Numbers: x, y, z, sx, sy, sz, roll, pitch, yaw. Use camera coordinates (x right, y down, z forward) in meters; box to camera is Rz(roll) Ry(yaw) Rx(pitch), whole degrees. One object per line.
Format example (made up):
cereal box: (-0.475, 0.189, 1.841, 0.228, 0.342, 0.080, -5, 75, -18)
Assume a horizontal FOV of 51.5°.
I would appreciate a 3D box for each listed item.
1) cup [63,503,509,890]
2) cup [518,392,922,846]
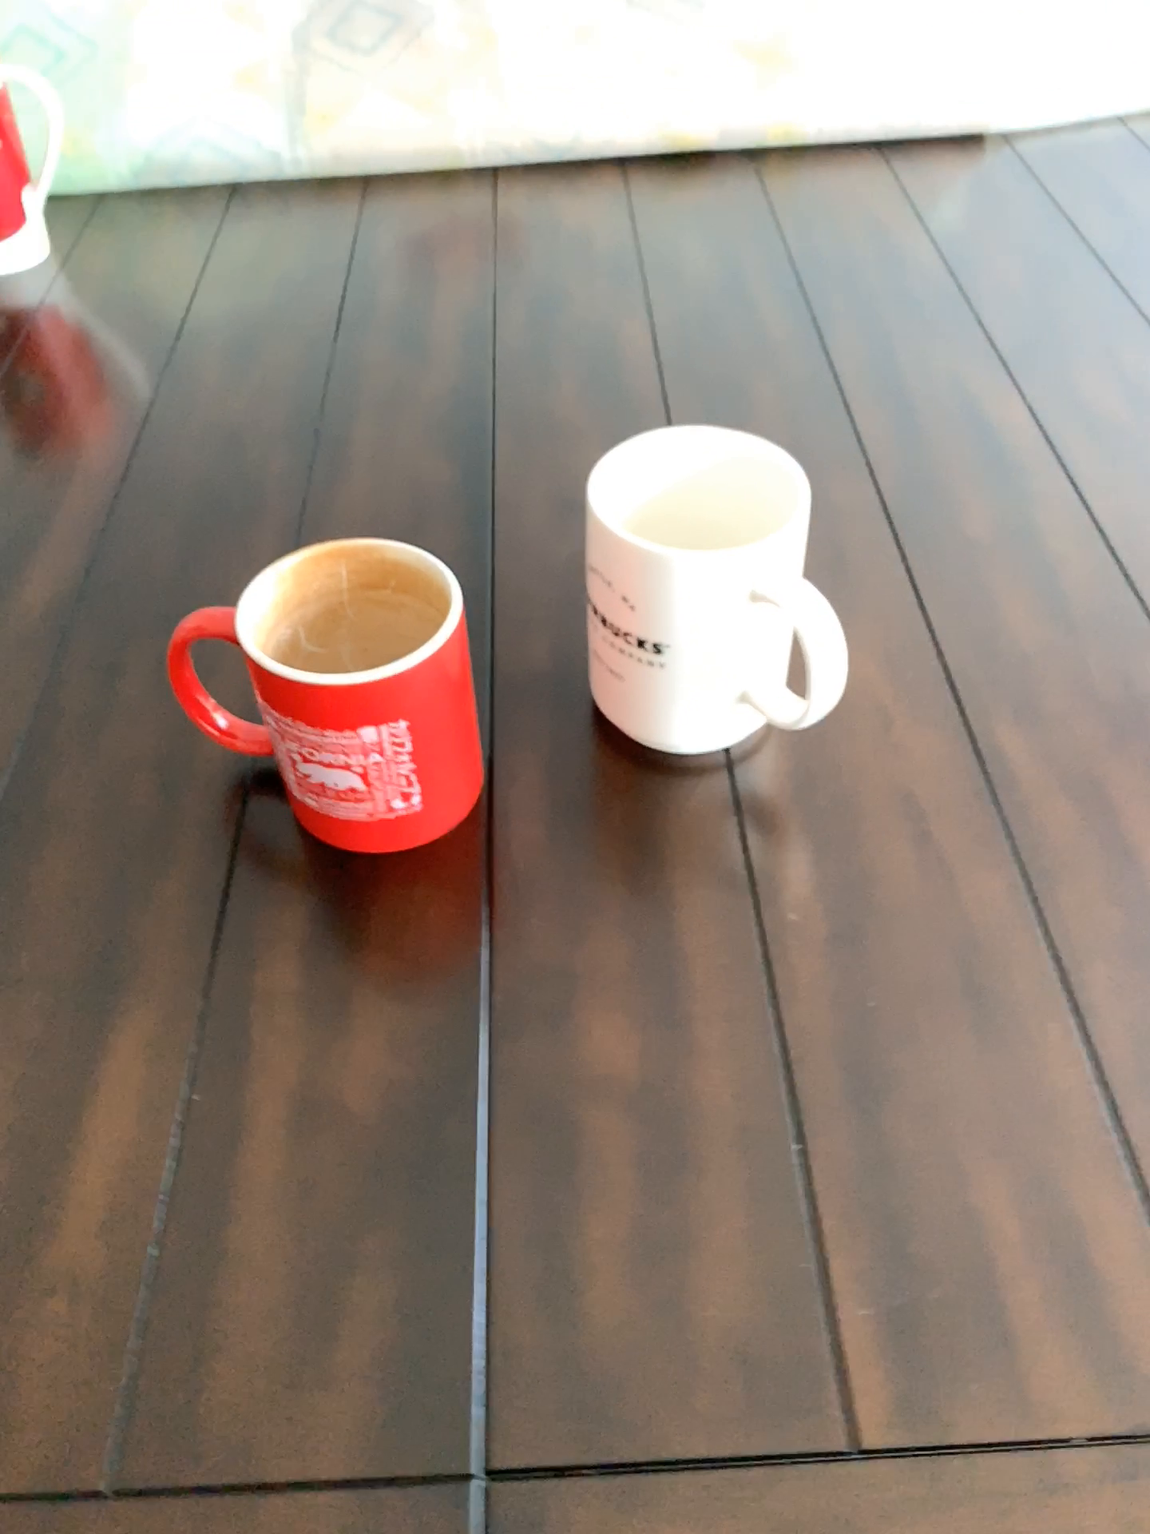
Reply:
cup: (-0.105, -0.029, 0.474, 0.130, 0.100, 0.090, 10, 48, 12)
cup: (0.052, -0.062, 0.478, 0.080, 0.110, 0.131, -31, 53, -24)
